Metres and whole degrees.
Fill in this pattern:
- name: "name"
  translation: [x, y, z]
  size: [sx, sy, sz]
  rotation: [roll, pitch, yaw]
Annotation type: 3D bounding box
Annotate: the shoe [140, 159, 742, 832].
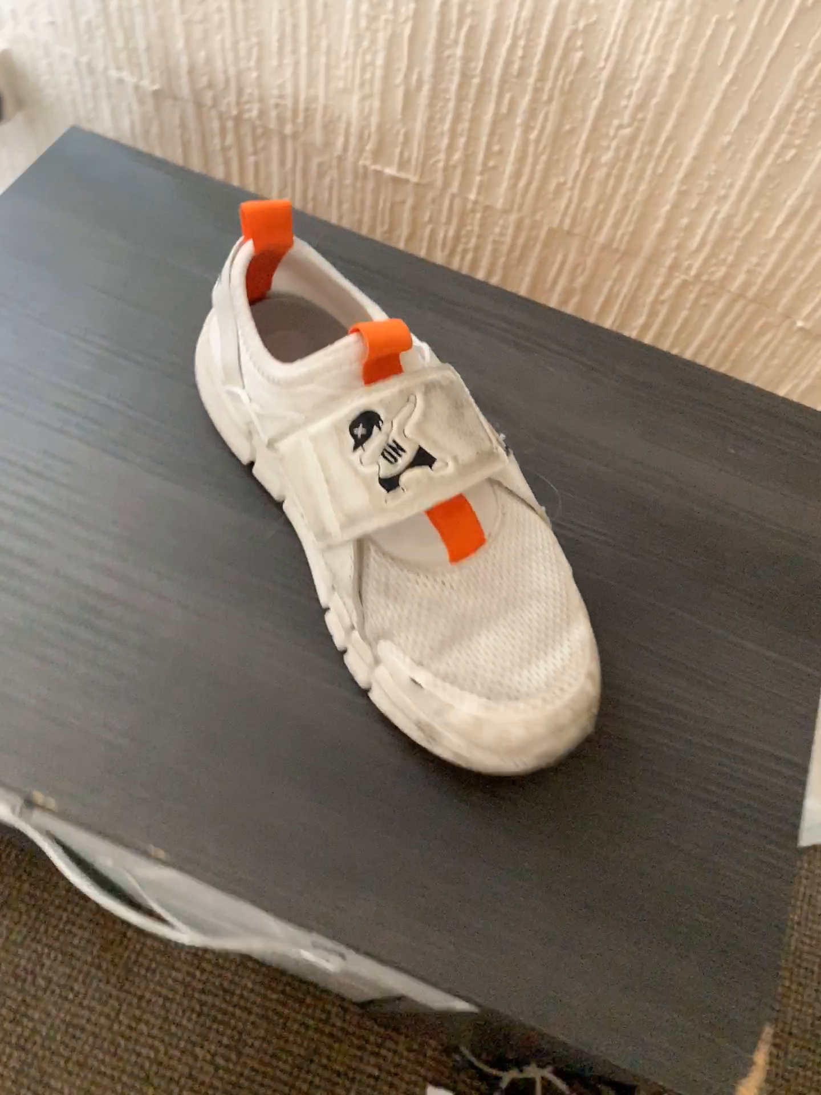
- name: "shoe"
  translation: [-0.003, -0.030, 0.308]
  size: [0.100, 0.070, 0.223]
  rotation: [-24, 67, -20]
